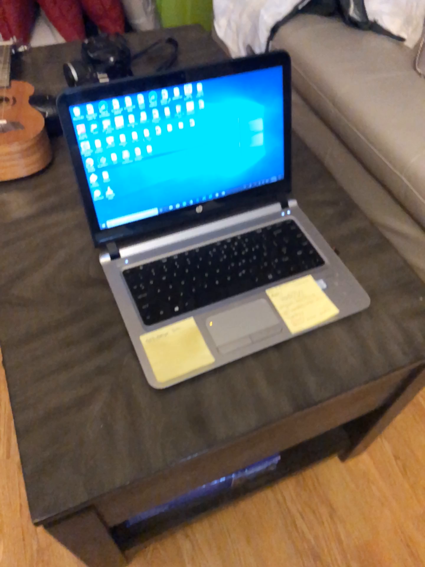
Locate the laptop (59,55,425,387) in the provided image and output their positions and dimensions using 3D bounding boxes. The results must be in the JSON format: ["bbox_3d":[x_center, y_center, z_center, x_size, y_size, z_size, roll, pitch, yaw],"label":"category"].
[{"bbox_3d":[0.016,-0.100,0.617,0.315,0.203,0.314,-18,56,-17],"label":"laptop"}]
